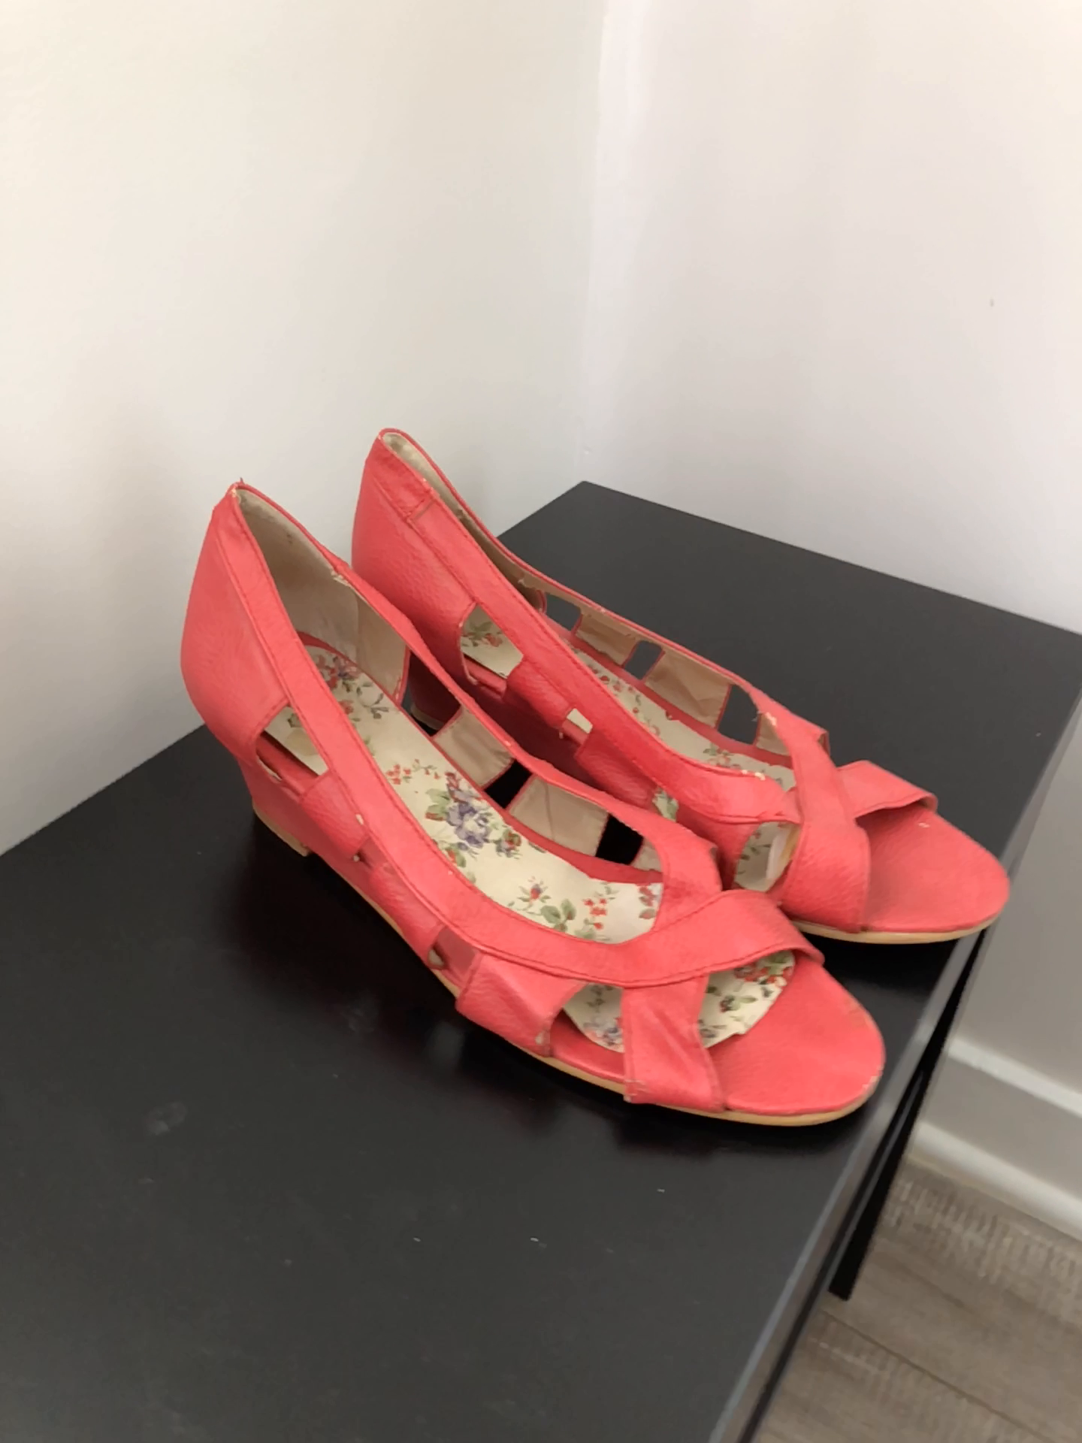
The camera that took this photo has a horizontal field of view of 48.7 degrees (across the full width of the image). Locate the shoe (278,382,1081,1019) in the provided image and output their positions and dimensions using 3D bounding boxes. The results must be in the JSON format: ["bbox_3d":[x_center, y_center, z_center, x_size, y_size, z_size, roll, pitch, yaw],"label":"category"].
[{"bbox_3d":[0.037,-0.018,0.365,0.230,0.100,0.078,22,39,23],"label":"shoe"}]

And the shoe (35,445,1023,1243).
[{"bbox_3d":[-0.011,0.016,0.310,0.220,0.100,0.088,22,39,23],"label":"shoe"}]
